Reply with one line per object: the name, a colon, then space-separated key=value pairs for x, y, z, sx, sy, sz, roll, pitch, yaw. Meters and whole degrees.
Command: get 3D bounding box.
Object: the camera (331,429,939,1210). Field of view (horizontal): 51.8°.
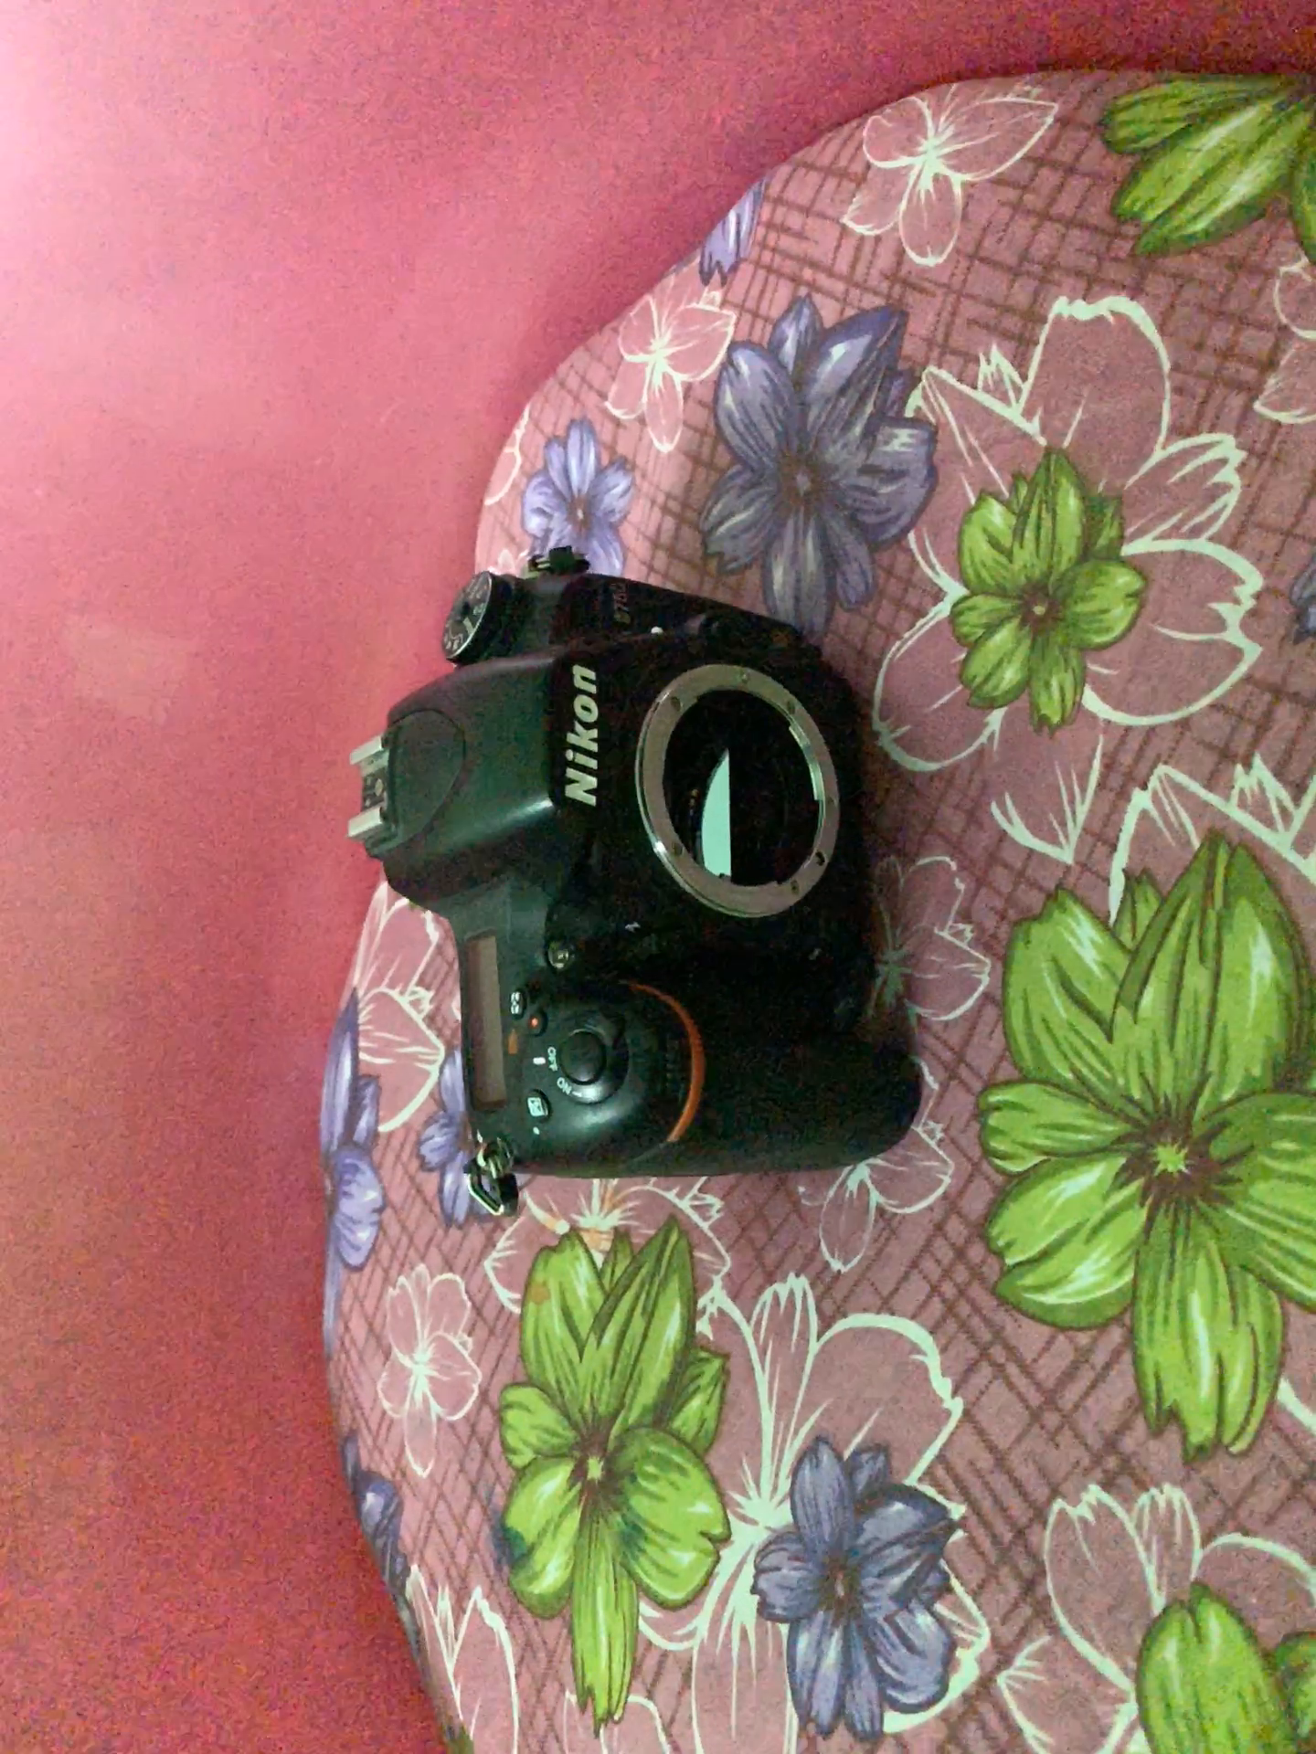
camera: x=-0.008 y=-0.002 z=0.300 sx=0.093 sy=0.089 sz=0.140 roll=-13 pitch=76 yaw=45
